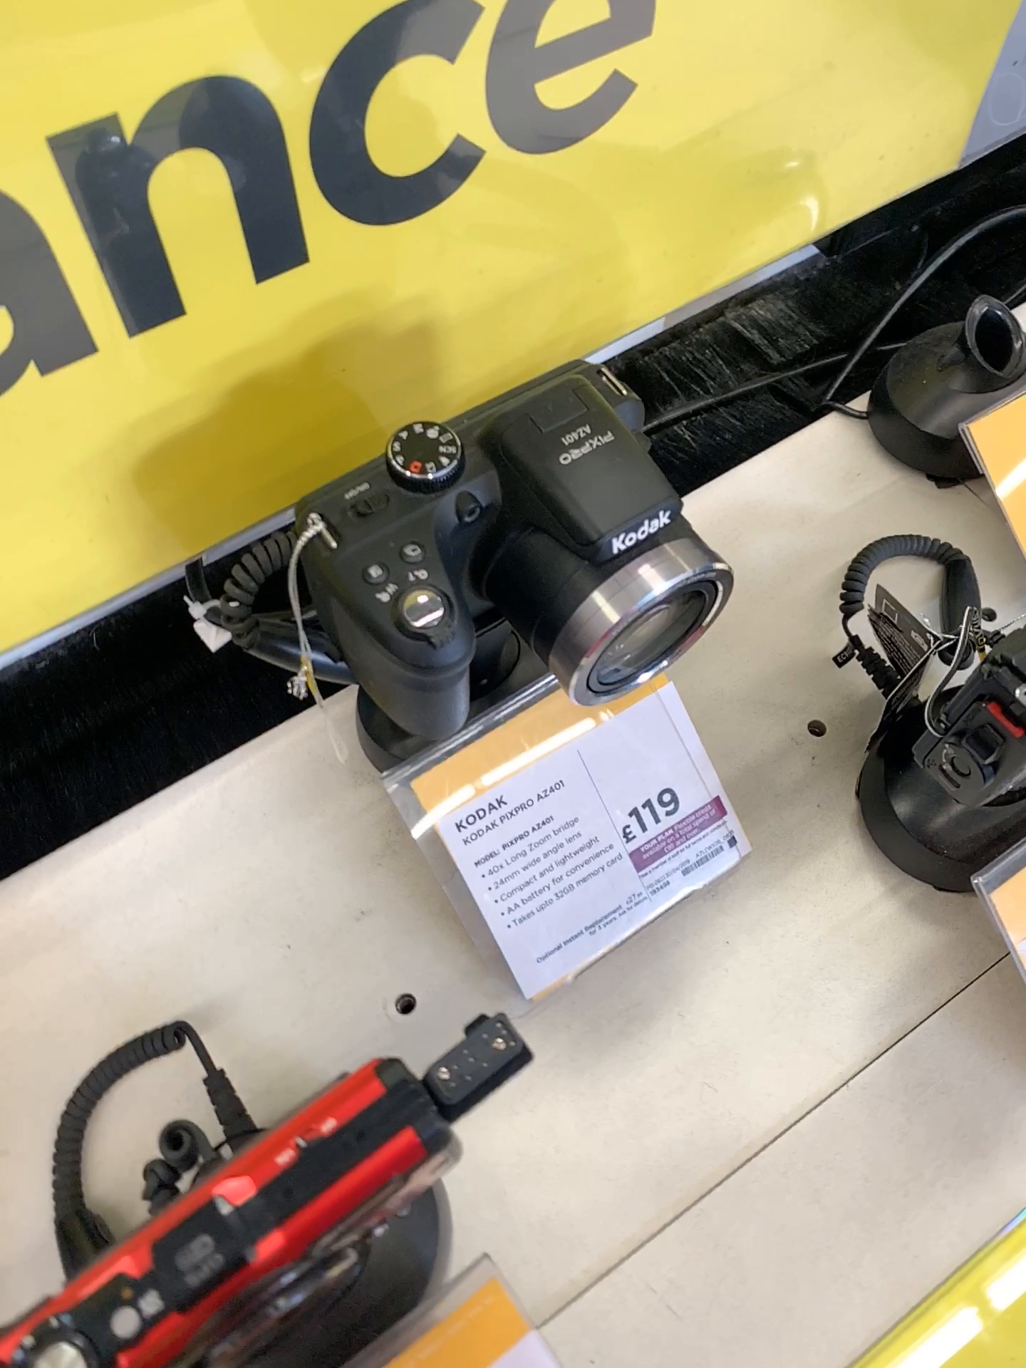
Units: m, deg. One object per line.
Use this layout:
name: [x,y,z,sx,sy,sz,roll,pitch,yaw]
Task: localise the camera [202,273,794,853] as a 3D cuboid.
camera: [-0.004,-0.035,0.325,0.130,0.099,0.090,-32,67,-16]
